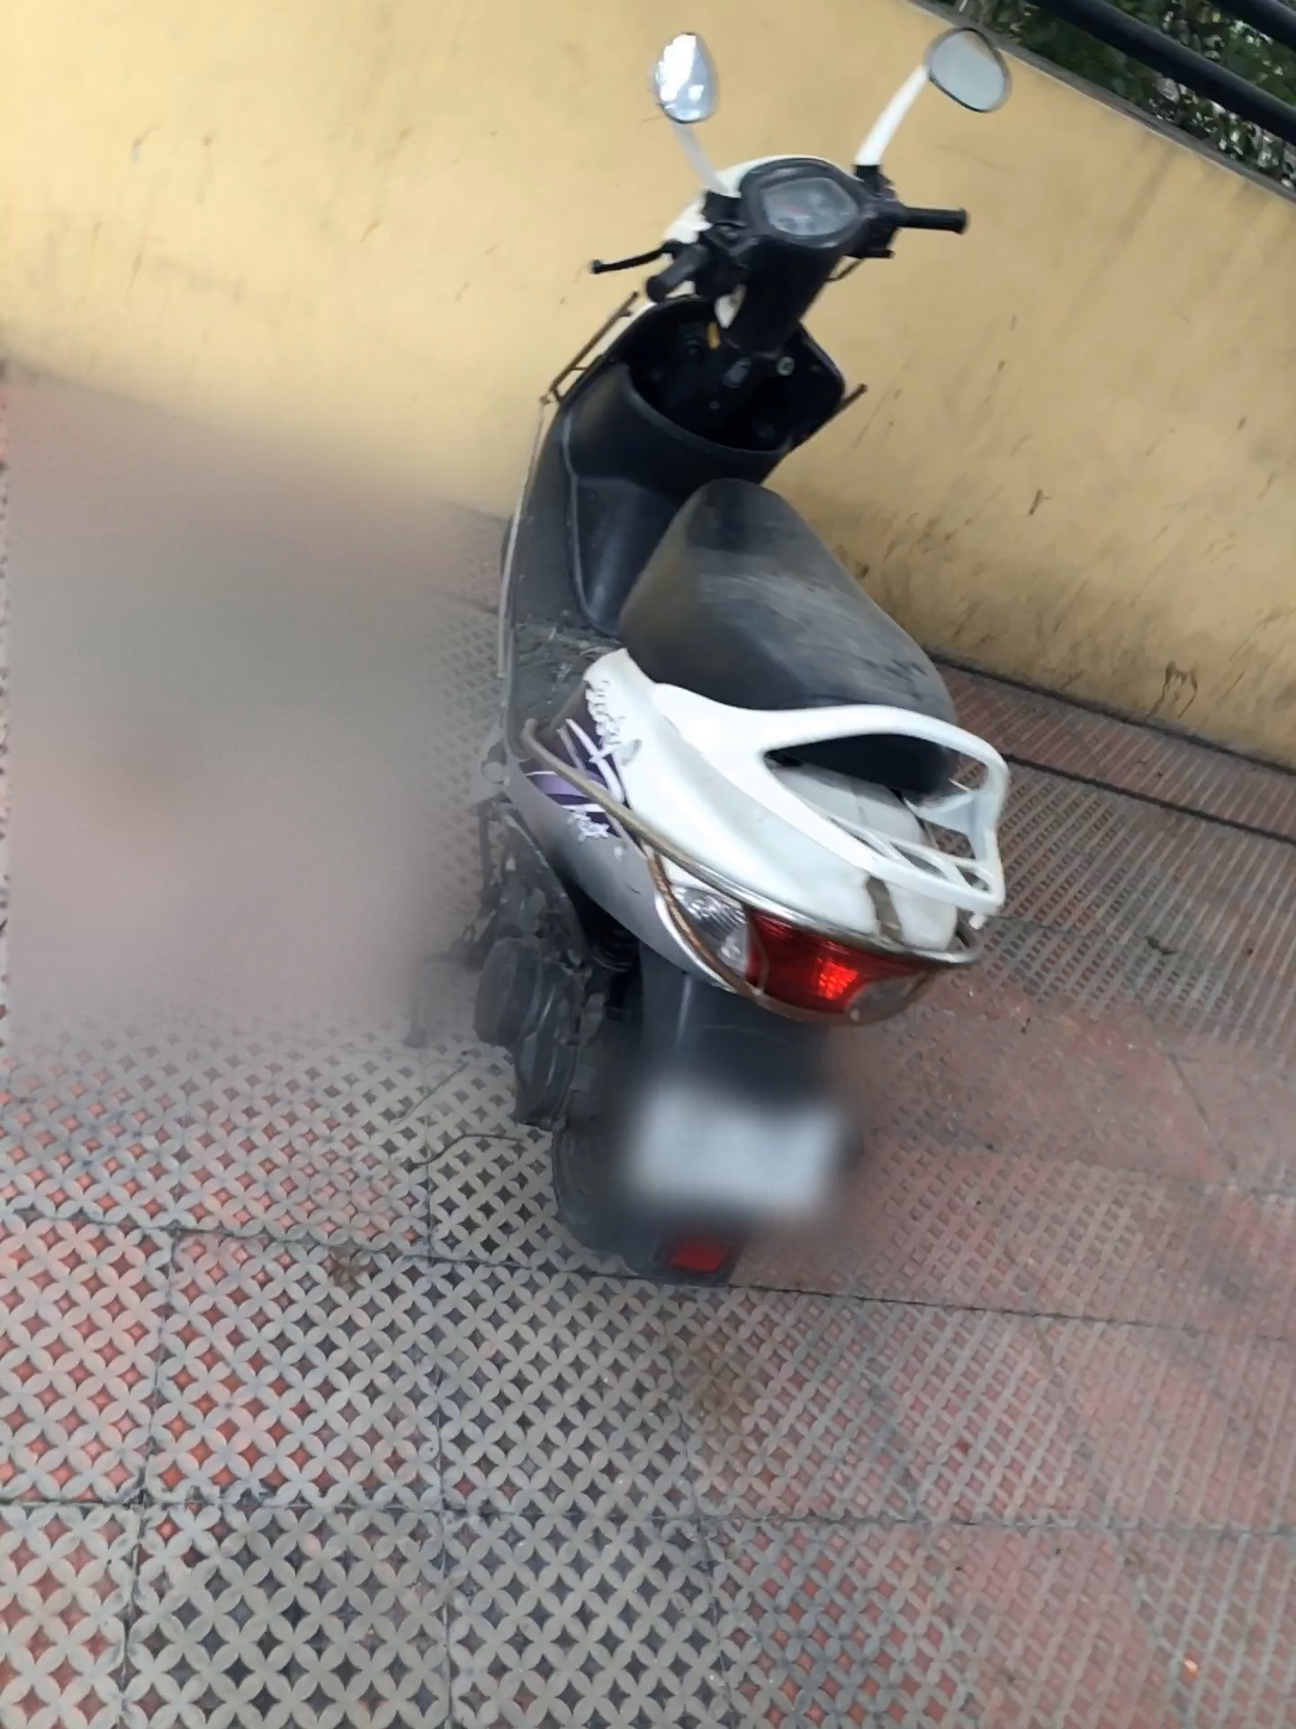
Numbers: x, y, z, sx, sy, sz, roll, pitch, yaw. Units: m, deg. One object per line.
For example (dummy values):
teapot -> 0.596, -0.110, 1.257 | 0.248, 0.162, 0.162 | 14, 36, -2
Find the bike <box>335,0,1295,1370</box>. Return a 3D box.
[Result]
bike -> 0.054, -0.327, 1.926 | 0.600, 1.081, 1.478 | 14, 41, -21
